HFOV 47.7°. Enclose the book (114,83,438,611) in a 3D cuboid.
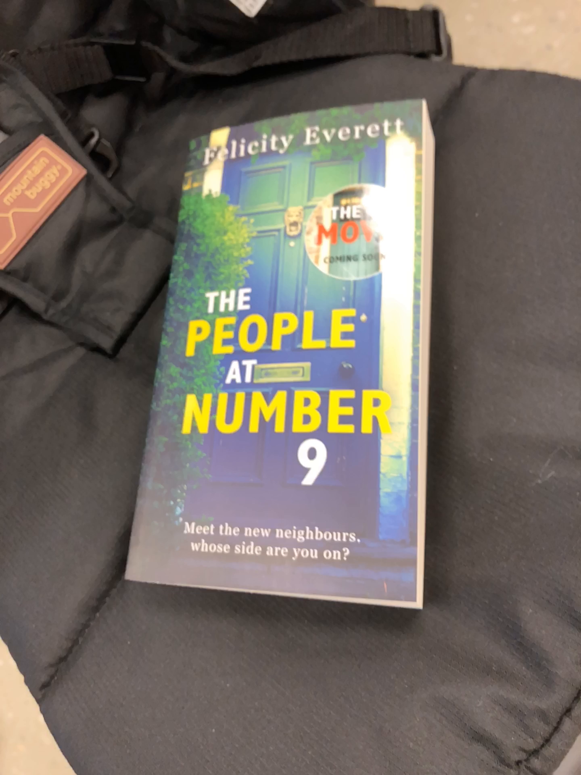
[{"bbox_3d":[0.000,-0.020,0.257,0.110,0.030,0.195,-1,74,15],"label":"book"}]
